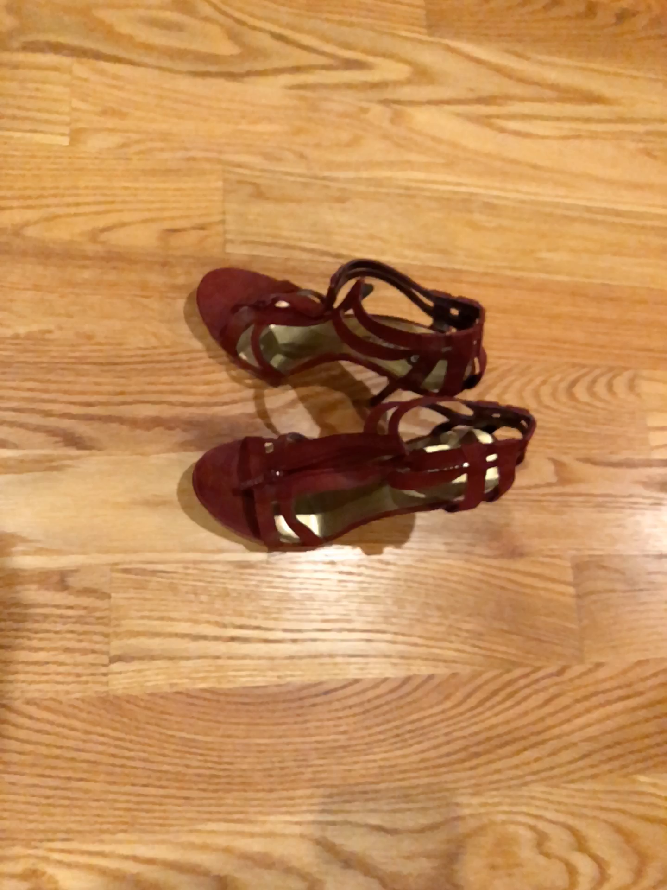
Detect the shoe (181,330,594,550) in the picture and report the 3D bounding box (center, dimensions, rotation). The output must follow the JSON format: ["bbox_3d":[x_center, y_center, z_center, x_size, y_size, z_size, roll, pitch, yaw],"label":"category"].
[{"bbox_3d":[0.016,0.008,0.464,0.206,0.176,0.085,1,74,-15],"label":"shoe"}]

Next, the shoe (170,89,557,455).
[{"bbox_3d":[0.006,-0.097,0.496,0.199,0.176,0.085,27,69,-7],"label":"shoe"}]
